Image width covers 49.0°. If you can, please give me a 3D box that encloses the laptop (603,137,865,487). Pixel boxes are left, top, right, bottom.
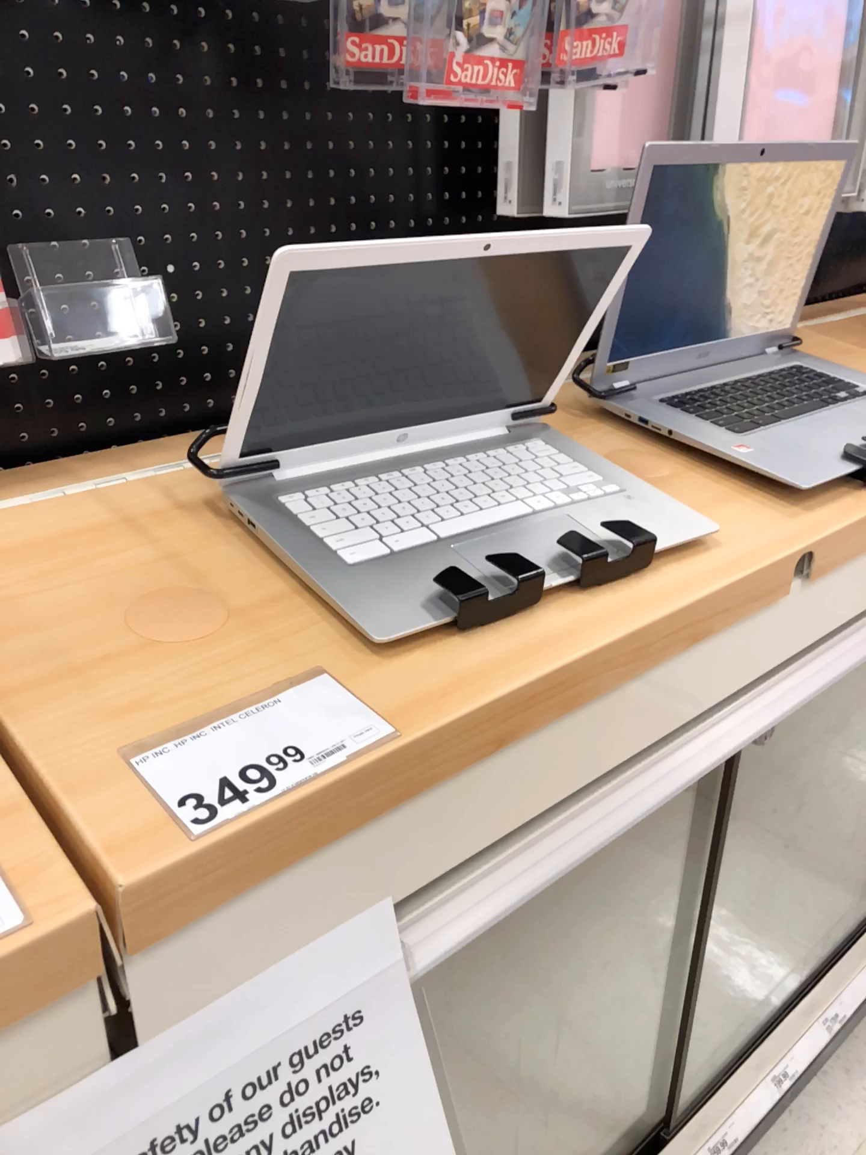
[{"bbox_3d":[0.372,-0.277,0.919,0.321,0.231,0.231,-19,35,-33],"label":"laptop"}]

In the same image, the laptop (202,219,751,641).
[{"bbox_3d":[0.037,-0.132,0.687,0.322,0.172,0.201,-17,37,-33],"label":"laptop"}]
